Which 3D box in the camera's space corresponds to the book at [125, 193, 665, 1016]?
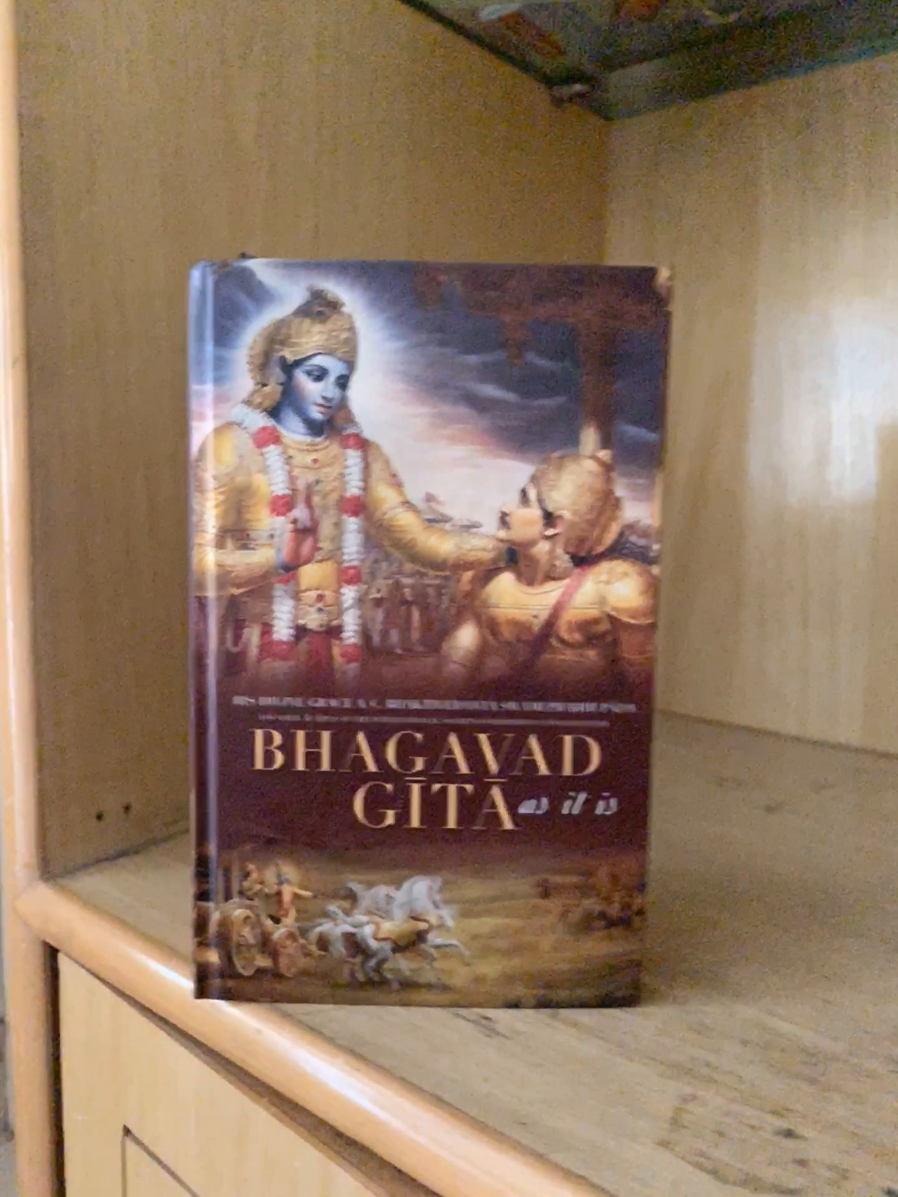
[{"bbox_3d":[-0.016,0.002,0.288,0.140,0.220,0.070,1,5,0],"label":"book"}]
